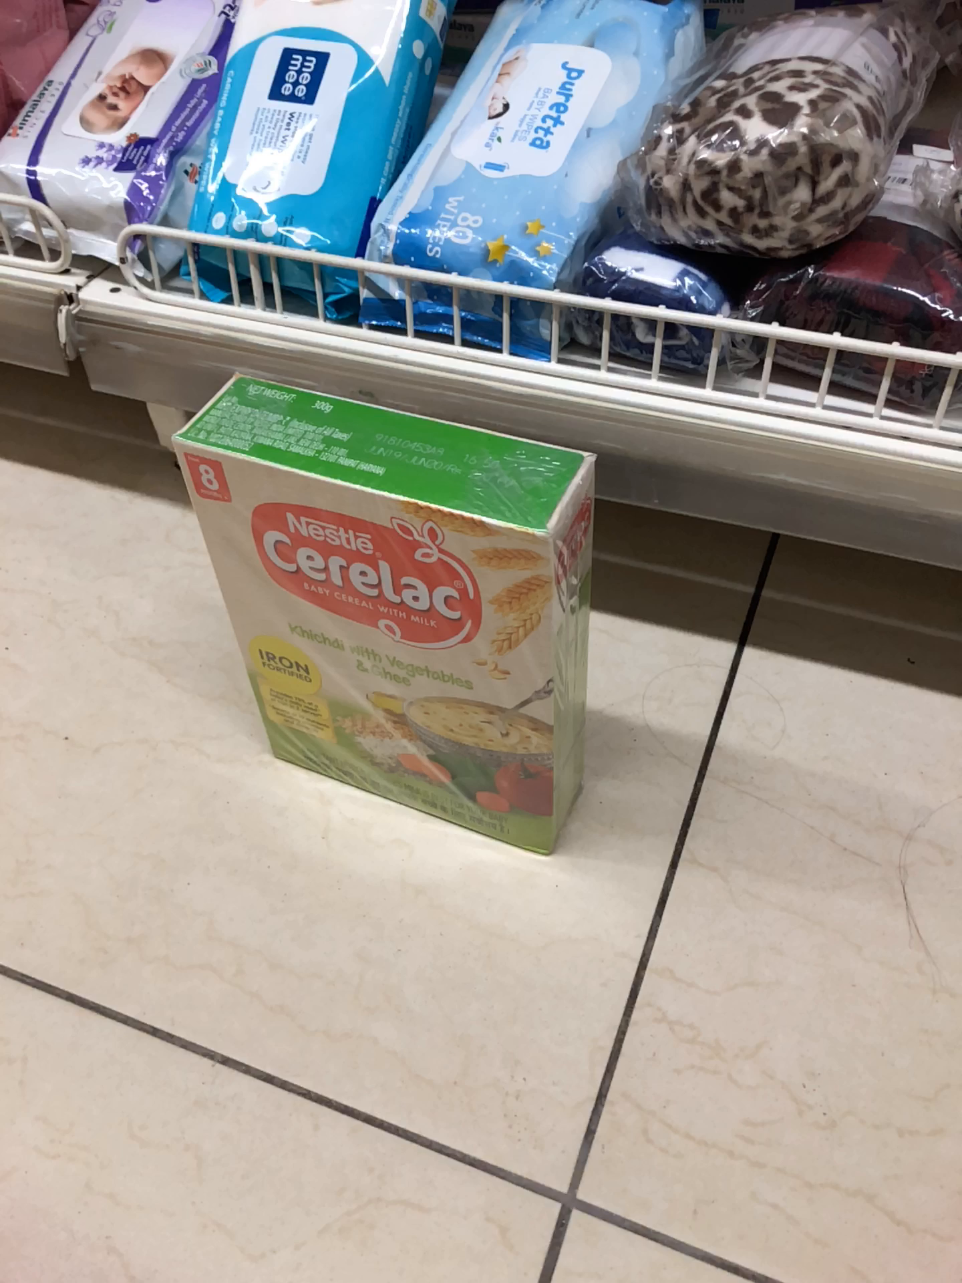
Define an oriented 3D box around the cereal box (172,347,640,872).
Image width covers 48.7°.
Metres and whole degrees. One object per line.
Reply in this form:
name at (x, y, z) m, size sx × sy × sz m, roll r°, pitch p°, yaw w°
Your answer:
cereal box at (-0.024, -0.007, 0.454) m, size 0.160 × 0.199 × 0.060 m, roll 17°, pitch 49°, yaw 19°
